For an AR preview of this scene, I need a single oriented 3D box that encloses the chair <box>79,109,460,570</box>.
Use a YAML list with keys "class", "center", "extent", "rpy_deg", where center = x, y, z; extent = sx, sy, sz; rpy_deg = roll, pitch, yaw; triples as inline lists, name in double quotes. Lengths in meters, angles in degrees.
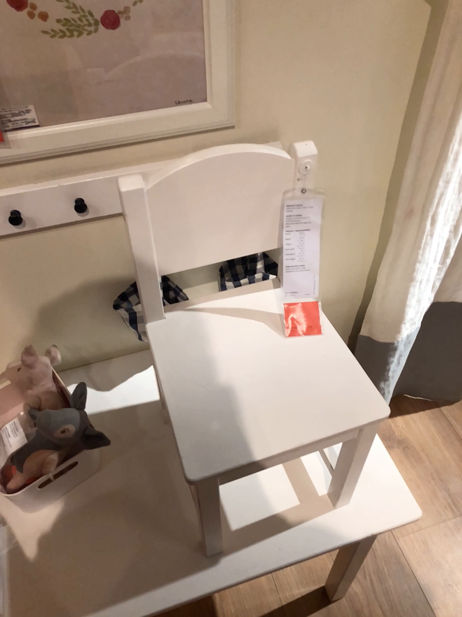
- class: "chair"
  center: [0.018, 0.073, 0.739]
  extent: [0.300, 0.557, 0.322]
  rpy_deg: [-15, 48, -13]
